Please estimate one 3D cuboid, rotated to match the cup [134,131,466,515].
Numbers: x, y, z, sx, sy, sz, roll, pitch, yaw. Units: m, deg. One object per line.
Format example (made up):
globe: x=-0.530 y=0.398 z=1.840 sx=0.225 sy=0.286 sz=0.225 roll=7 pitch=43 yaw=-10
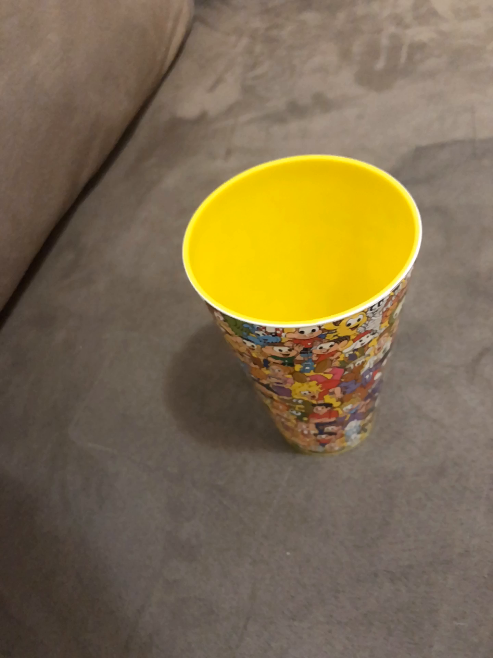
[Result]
cup: x=0.030 y=0.003 z=0.268 sx=0.090 sy=0.139 sz=0.090 roll=-7 pitch=53 yaw=9
